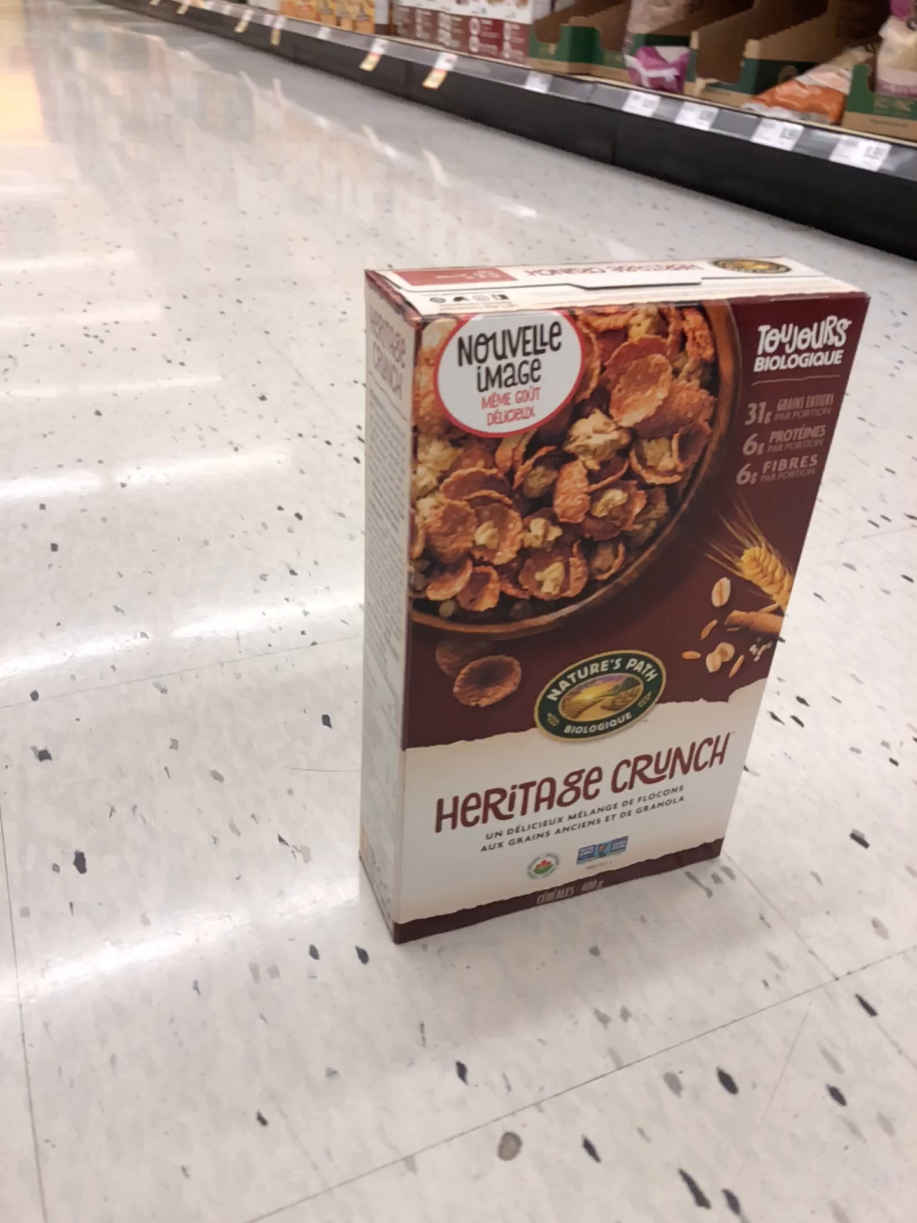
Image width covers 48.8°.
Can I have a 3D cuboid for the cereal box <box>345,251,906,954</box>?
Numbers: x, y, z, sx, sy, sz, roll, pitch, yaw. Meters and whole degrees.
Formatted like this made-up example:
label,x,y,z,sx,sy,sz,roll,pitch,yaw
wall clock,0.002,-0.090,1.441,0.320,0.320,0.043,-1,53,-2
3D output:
label,x,y,z,sx,sy,sz,roll,pitch,yaw
cereal box,0.048,0.001,0.386,0.170,0.248,0.060,-9,34,-20
